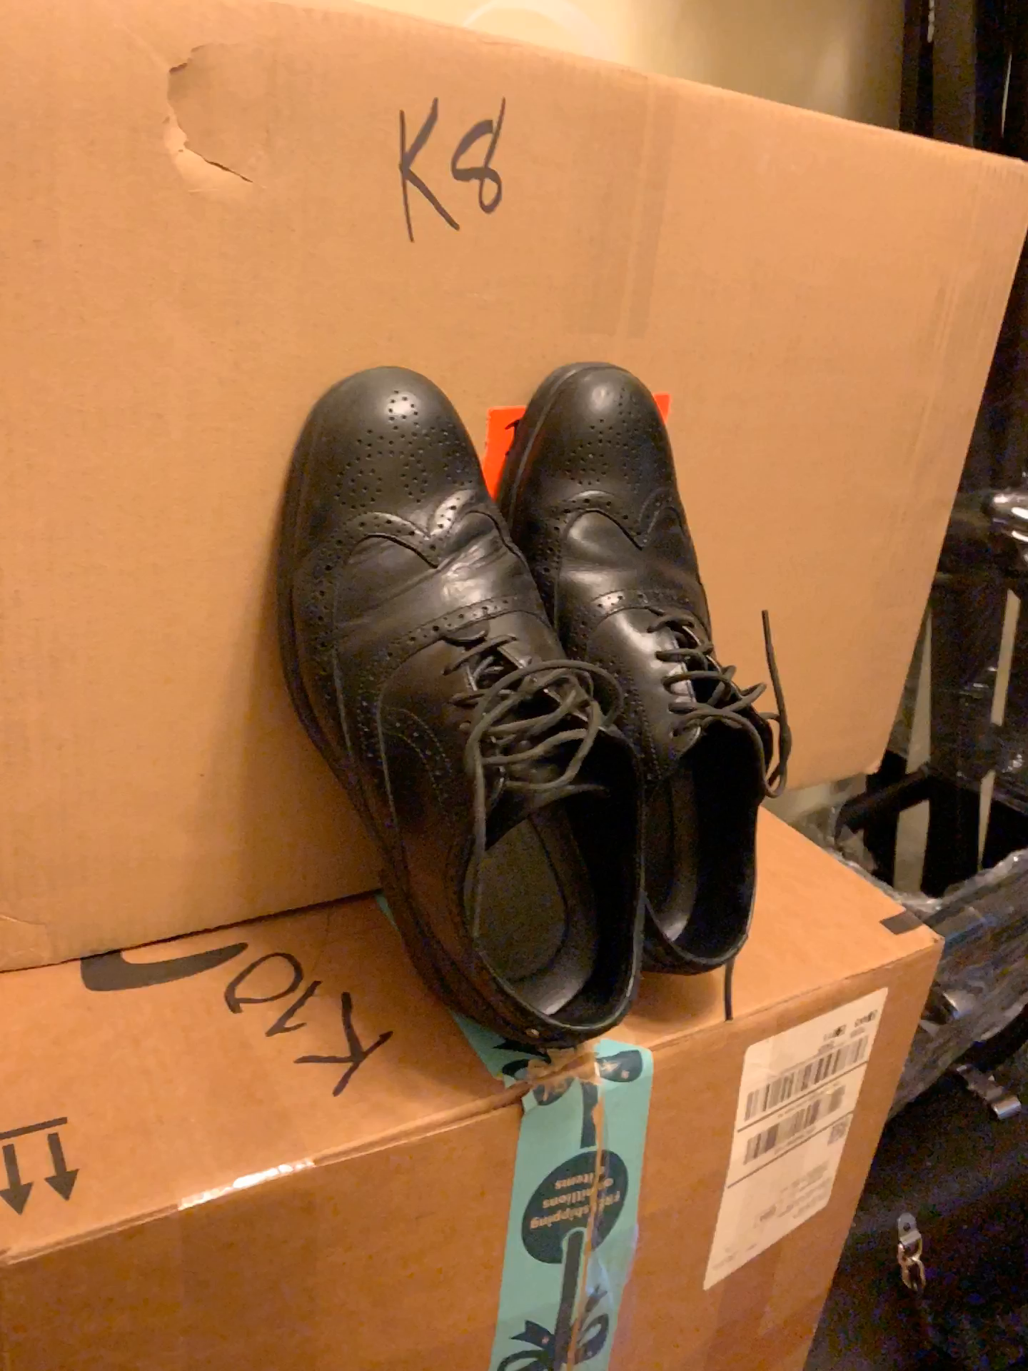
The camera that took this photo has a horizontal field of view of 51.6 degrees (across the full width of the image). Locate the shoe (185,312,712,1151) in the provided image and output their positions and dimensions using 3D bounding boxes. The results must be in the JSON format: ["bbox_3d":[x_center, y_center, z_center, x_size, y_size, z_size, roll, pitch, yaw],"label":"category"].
[{"bbox_3d":[-0.020,0.012,0.423,0.120,0.279,0.100,-21,17,-32],"label":"shoe"}]

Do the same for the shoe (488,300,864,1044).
[{"bbox_3d":[0.069,-0.011,0.469,0.120,0.279,0.100,-7,12,-33],"label":"shoe"}]
